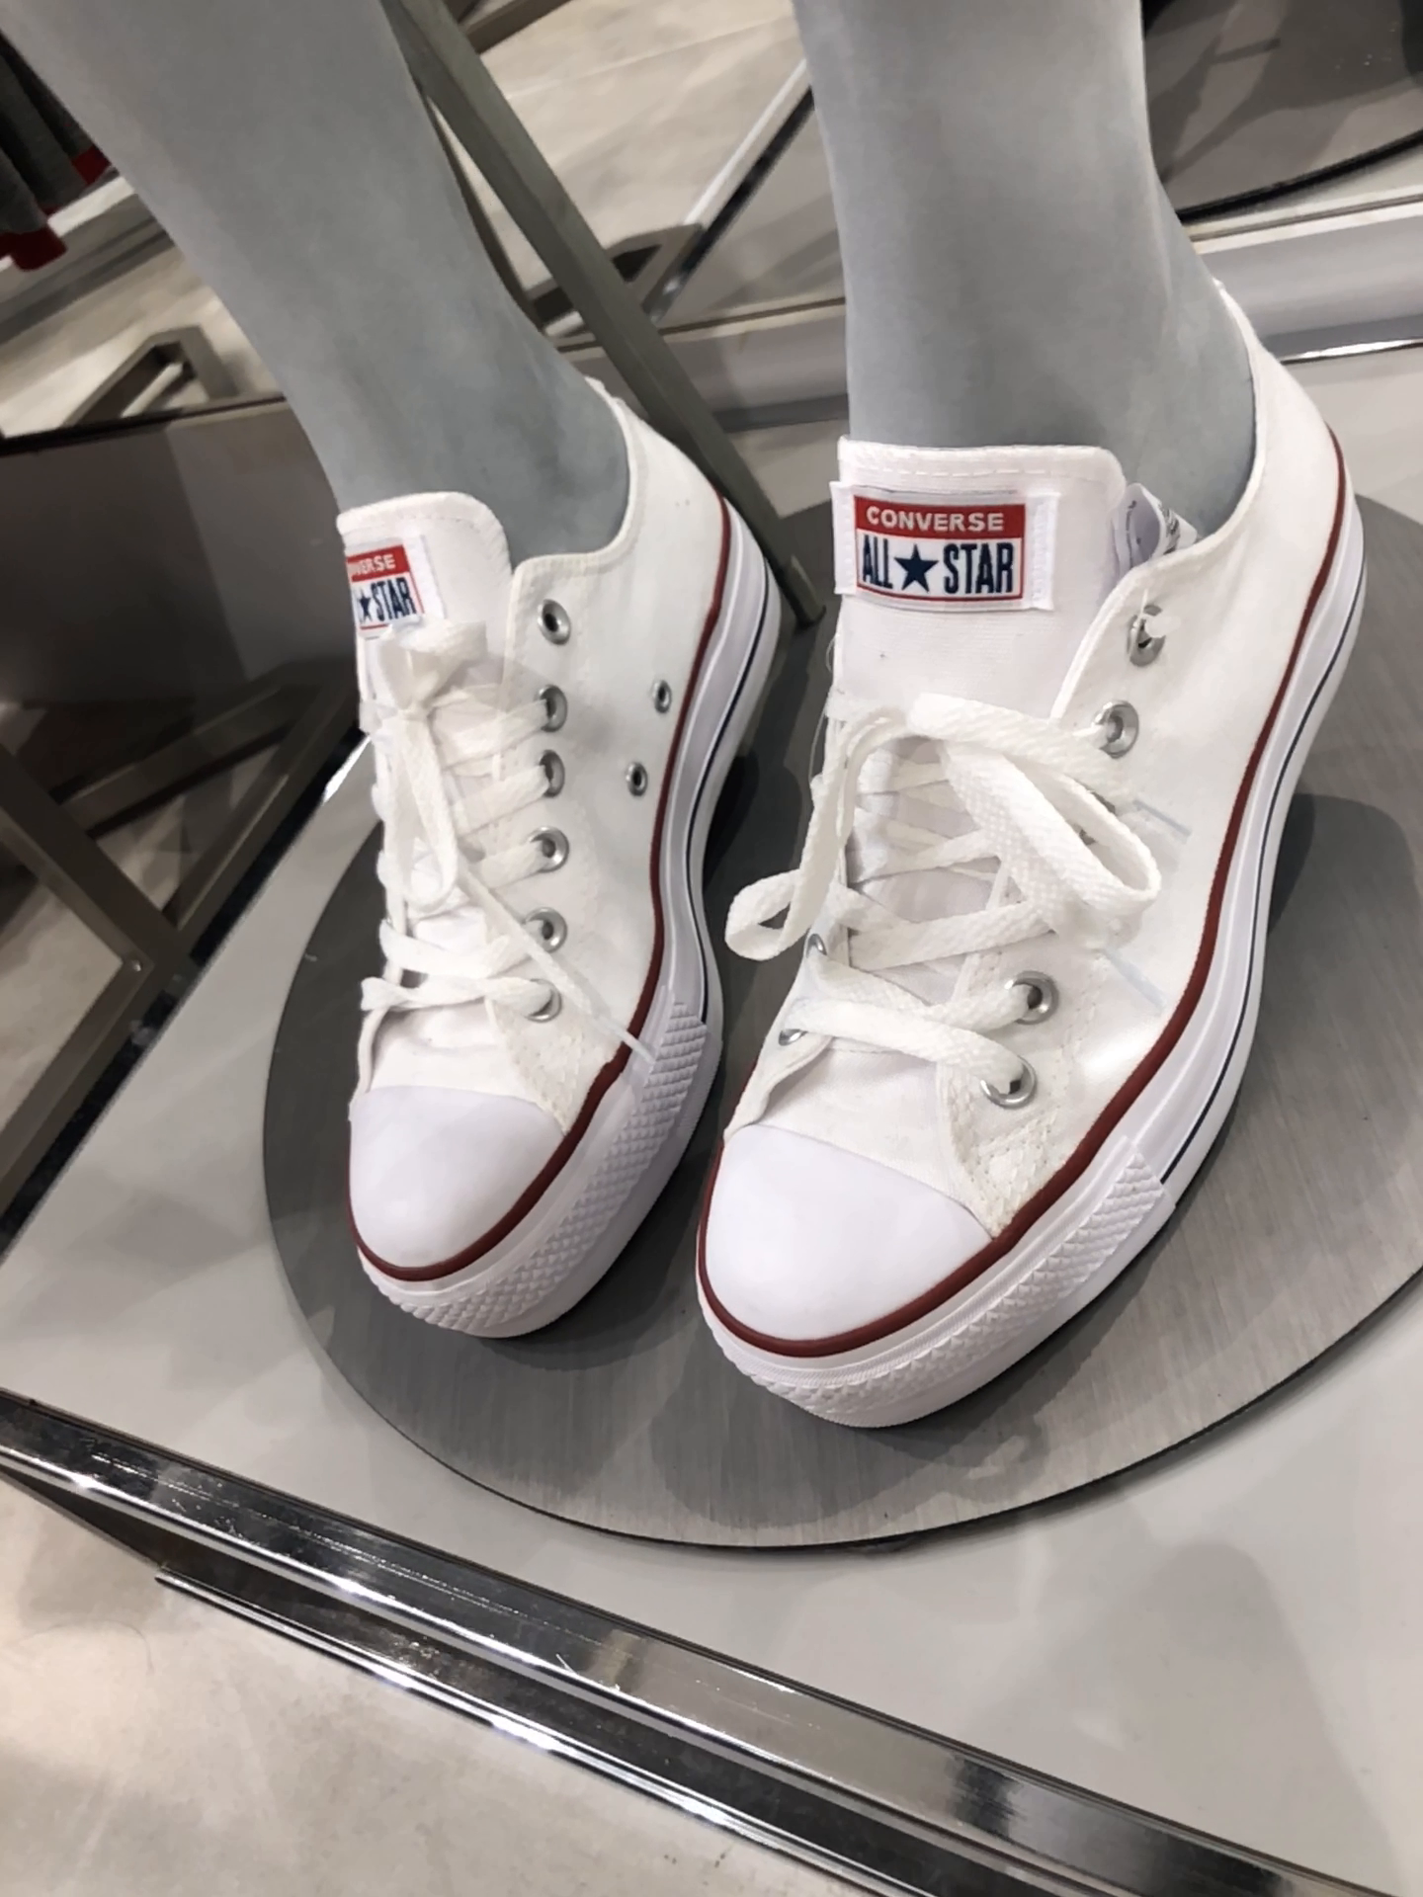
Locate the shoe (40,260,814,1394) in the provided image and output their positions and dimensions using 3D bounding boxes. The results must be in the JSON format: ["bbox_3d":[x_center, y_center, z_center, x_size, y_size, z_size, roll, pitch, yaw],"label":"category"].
[{"bbox_3d":[-0.060,-0.035,0.416,0.100,0.089,0.271,0,65,30],"label":"shoe"}]

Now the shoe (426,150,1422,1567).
[{"bbox_3d":[0.062,-0.028,0.353,0.110,0.089,0.281,13,73,38],"label":"shoe"}]
